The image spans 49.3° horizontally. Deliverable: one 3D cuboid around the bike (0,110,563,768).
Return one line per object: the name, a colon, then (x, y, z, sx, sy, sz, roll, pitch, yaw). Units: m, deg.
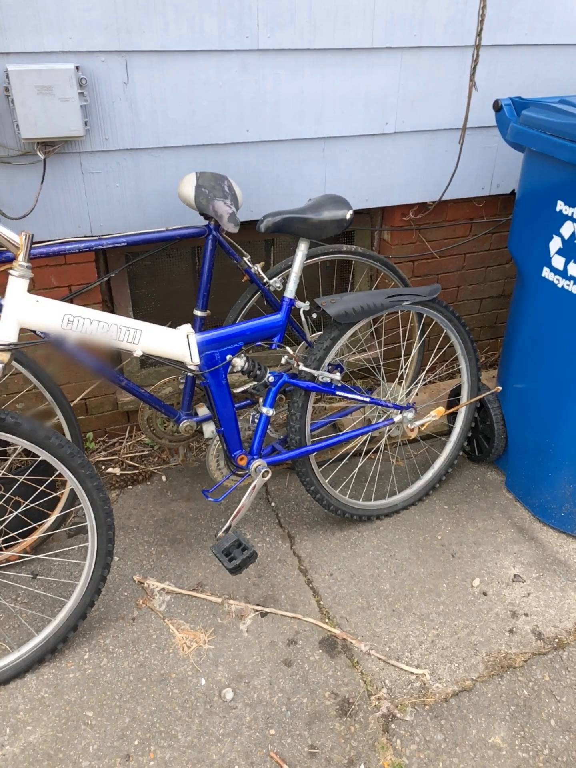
bike: (-0.290, 0.032, 1.515, 1.730, 0.979, 0.565, -19, 37, -23)
